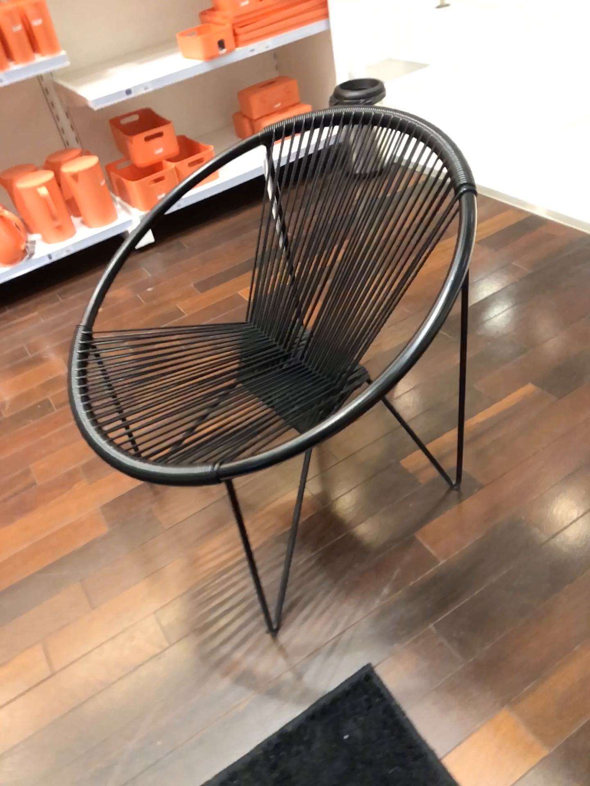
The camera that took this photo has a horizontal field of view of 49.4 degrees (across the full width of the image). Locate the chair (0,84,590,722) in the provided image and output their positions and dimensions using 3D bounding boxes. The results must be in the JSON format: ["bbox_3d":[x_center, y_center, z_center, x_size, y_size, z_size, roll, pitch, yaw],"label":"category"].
[{"bbox_3d":[-0.023,-0.068,1.181,0.731,0.675,0.704,-29,41,-21],"label":"chair"}]
